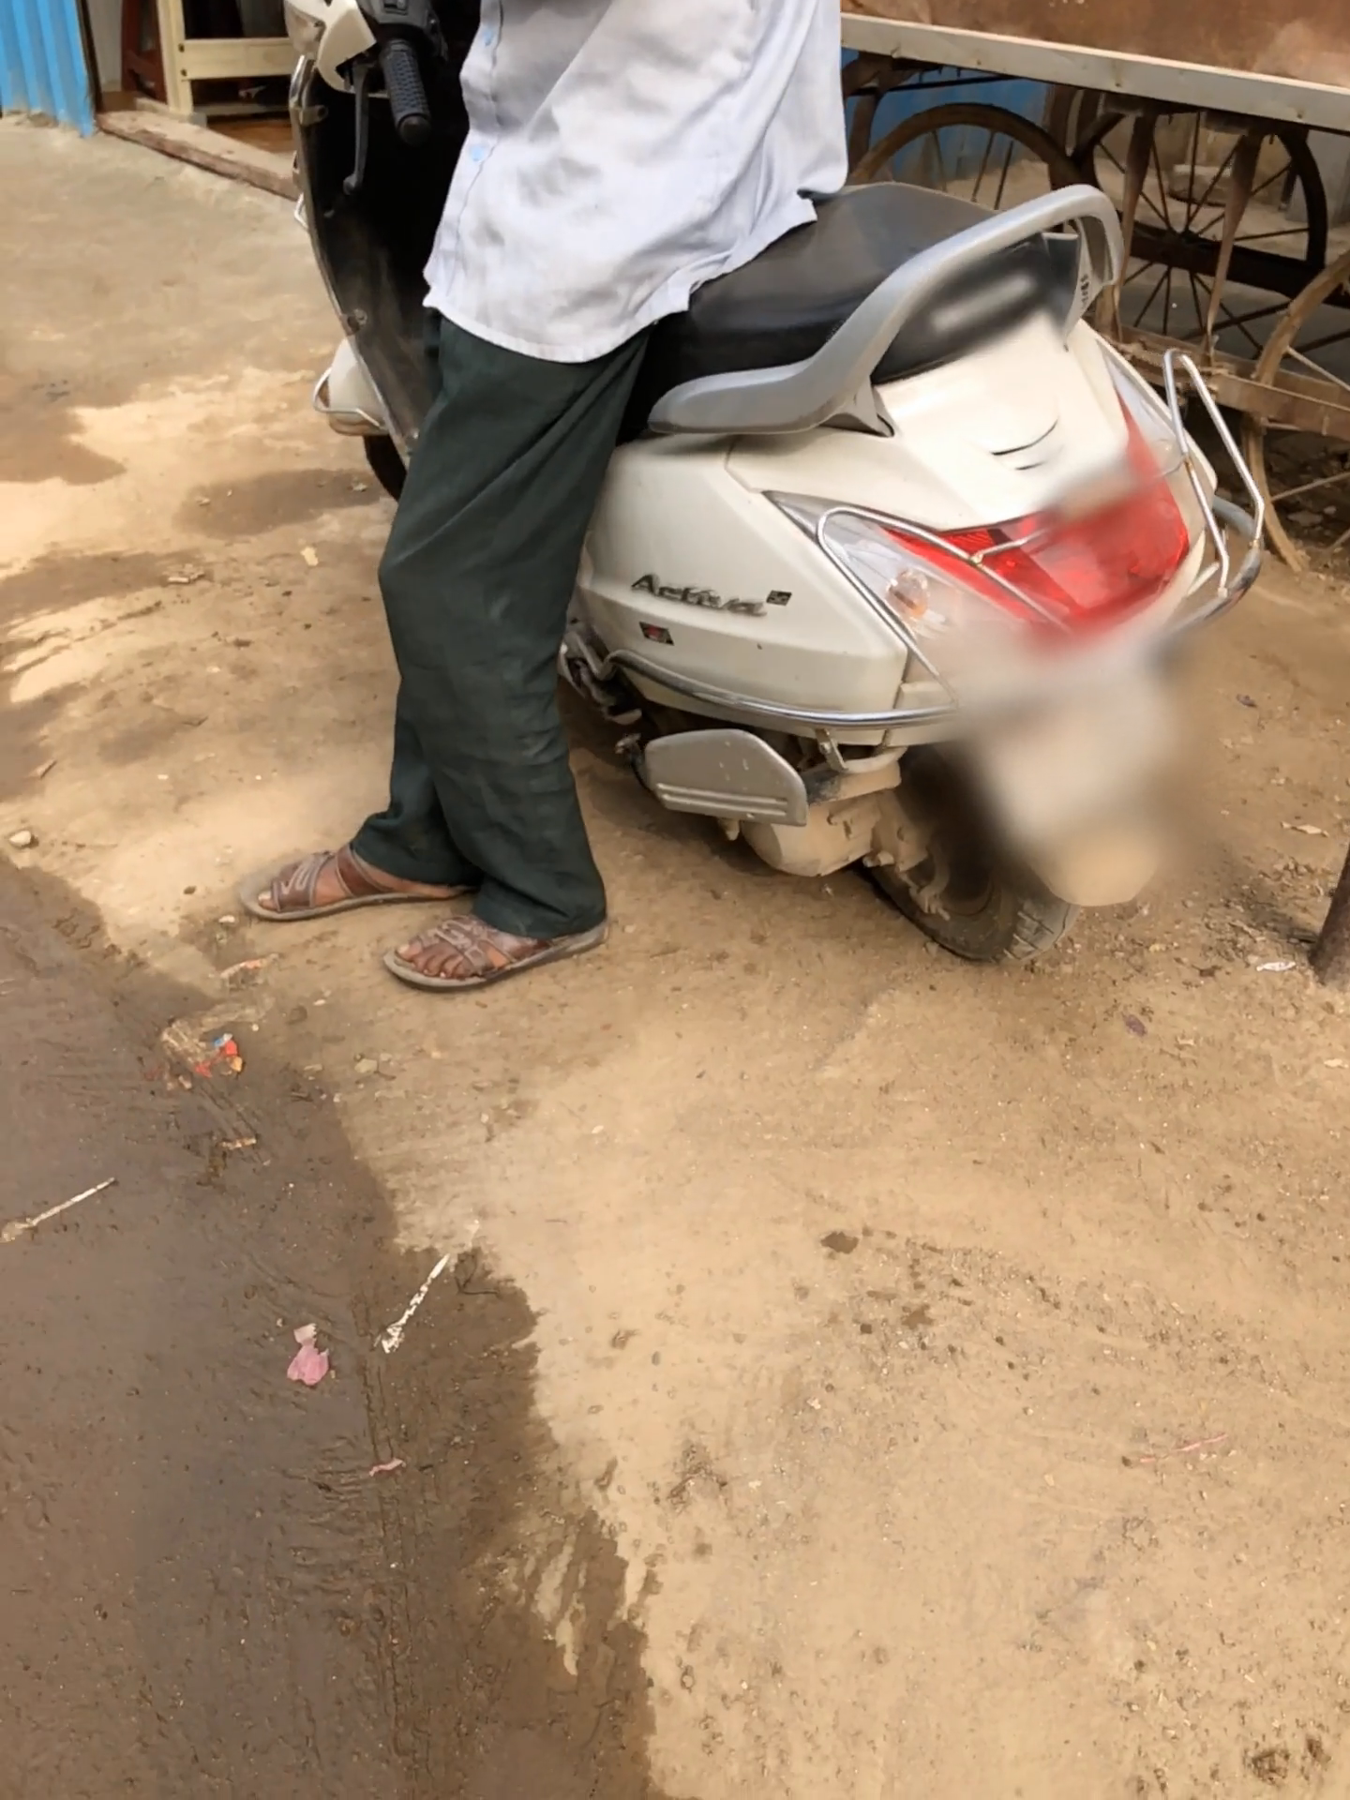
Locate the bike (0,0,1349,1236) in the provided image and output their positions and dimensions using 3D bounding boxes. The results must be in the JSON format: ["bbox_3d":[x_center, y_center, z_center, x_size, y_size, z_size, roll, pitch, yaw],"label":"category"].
[{"bbox_3d":[-0.191,-0.606,1.739,0.658,1.112,1.579,-20,40,-29],"label":"bike"}]
